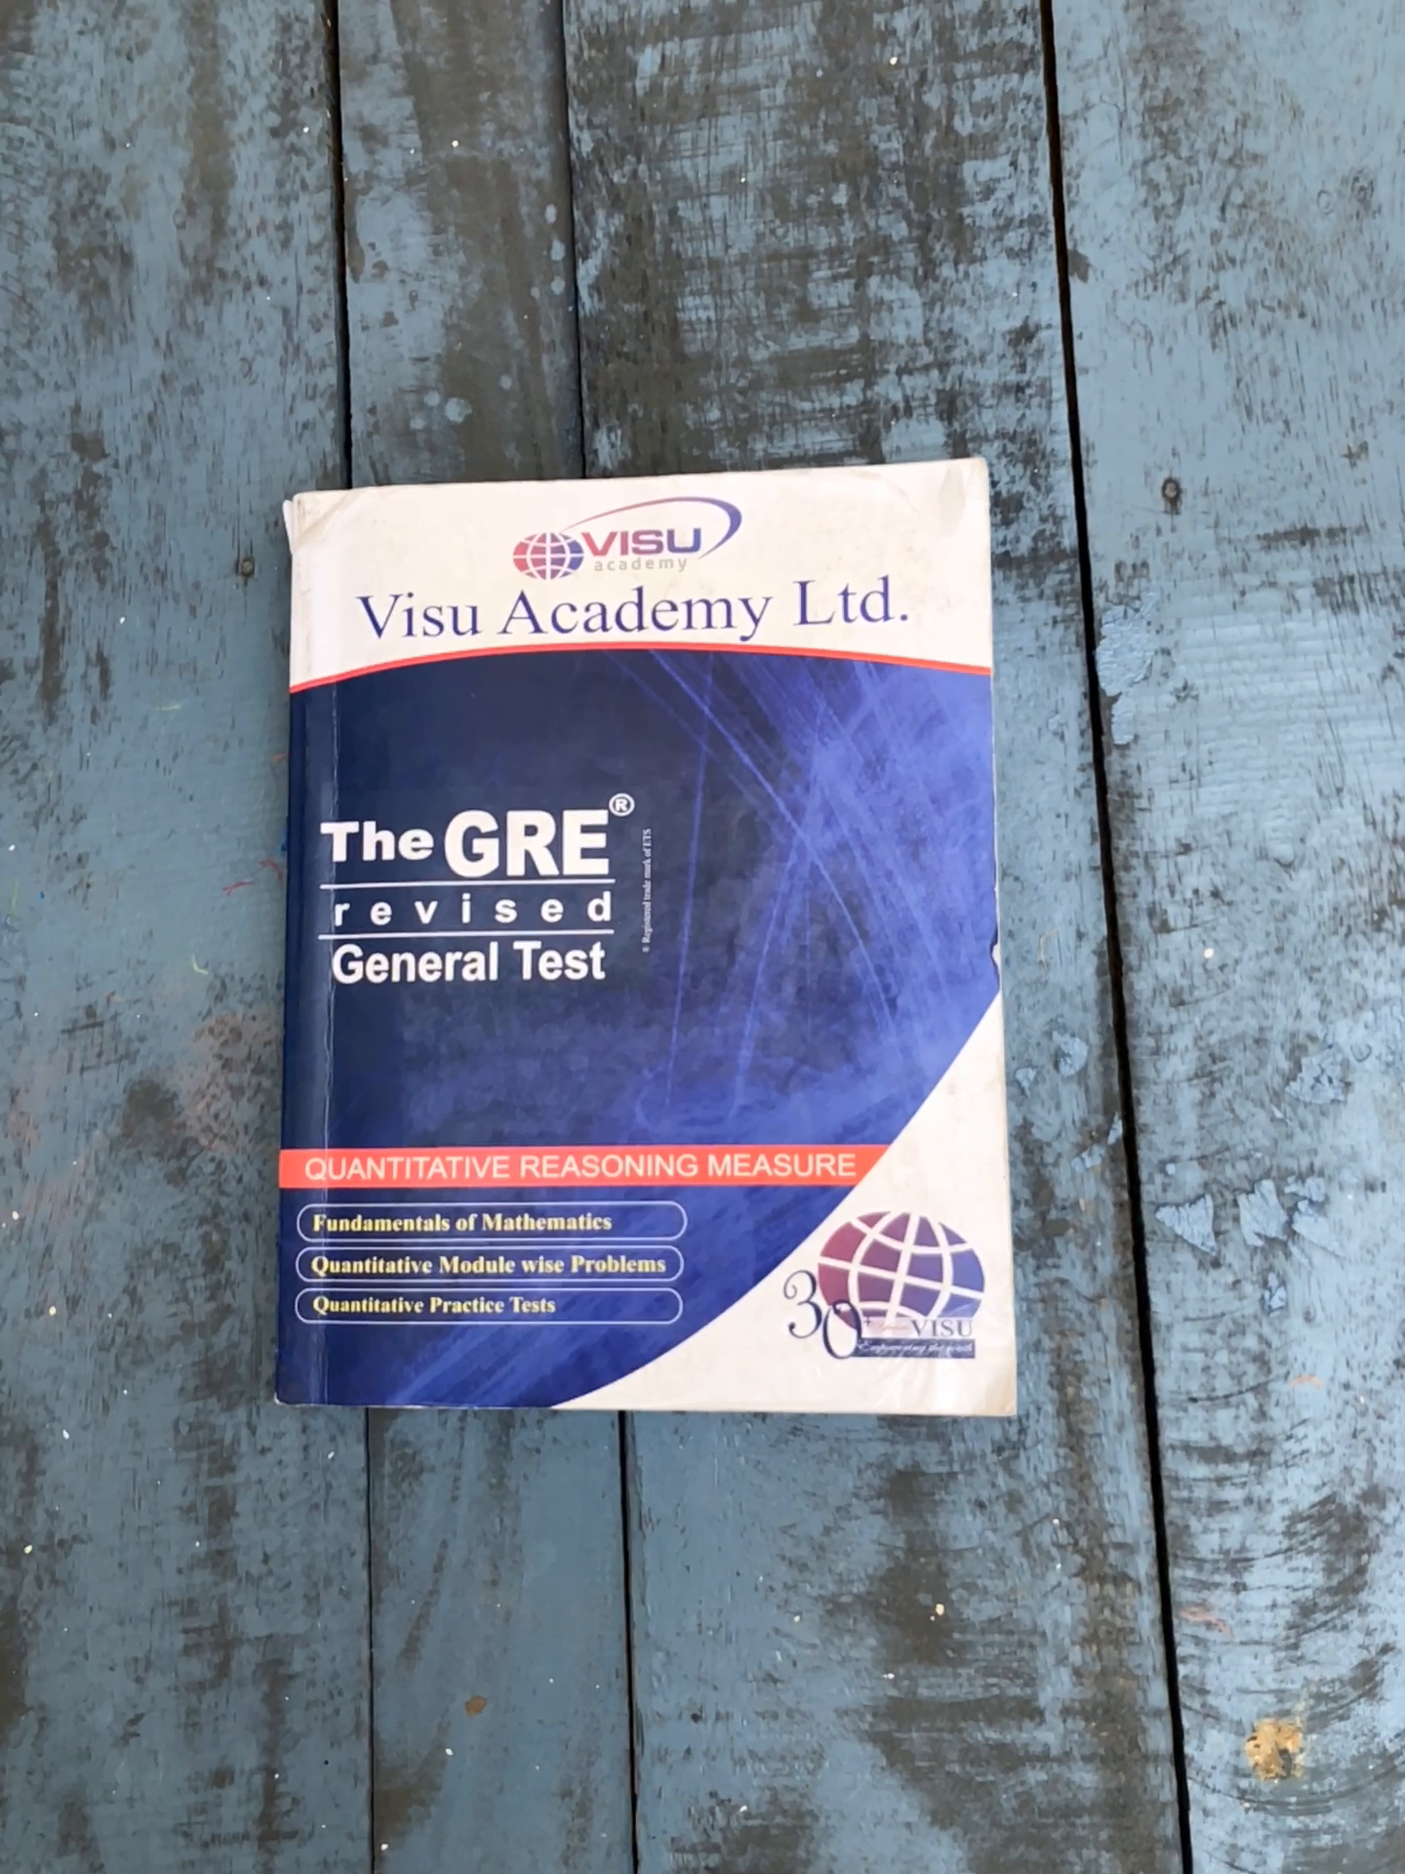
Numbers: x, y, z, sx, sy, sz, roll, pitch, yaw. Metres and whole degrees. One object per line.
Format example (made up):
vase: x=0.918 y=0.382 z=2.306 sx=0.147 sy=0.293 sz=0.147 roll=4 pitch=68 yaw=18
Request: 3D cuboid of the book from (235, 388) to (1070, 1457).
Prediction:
book: x=-0.013 y=-0.005 z=0.460 sx=0.220 sy=0.060 sz=0.290 roll=-1 pitch=81 yaw=6
